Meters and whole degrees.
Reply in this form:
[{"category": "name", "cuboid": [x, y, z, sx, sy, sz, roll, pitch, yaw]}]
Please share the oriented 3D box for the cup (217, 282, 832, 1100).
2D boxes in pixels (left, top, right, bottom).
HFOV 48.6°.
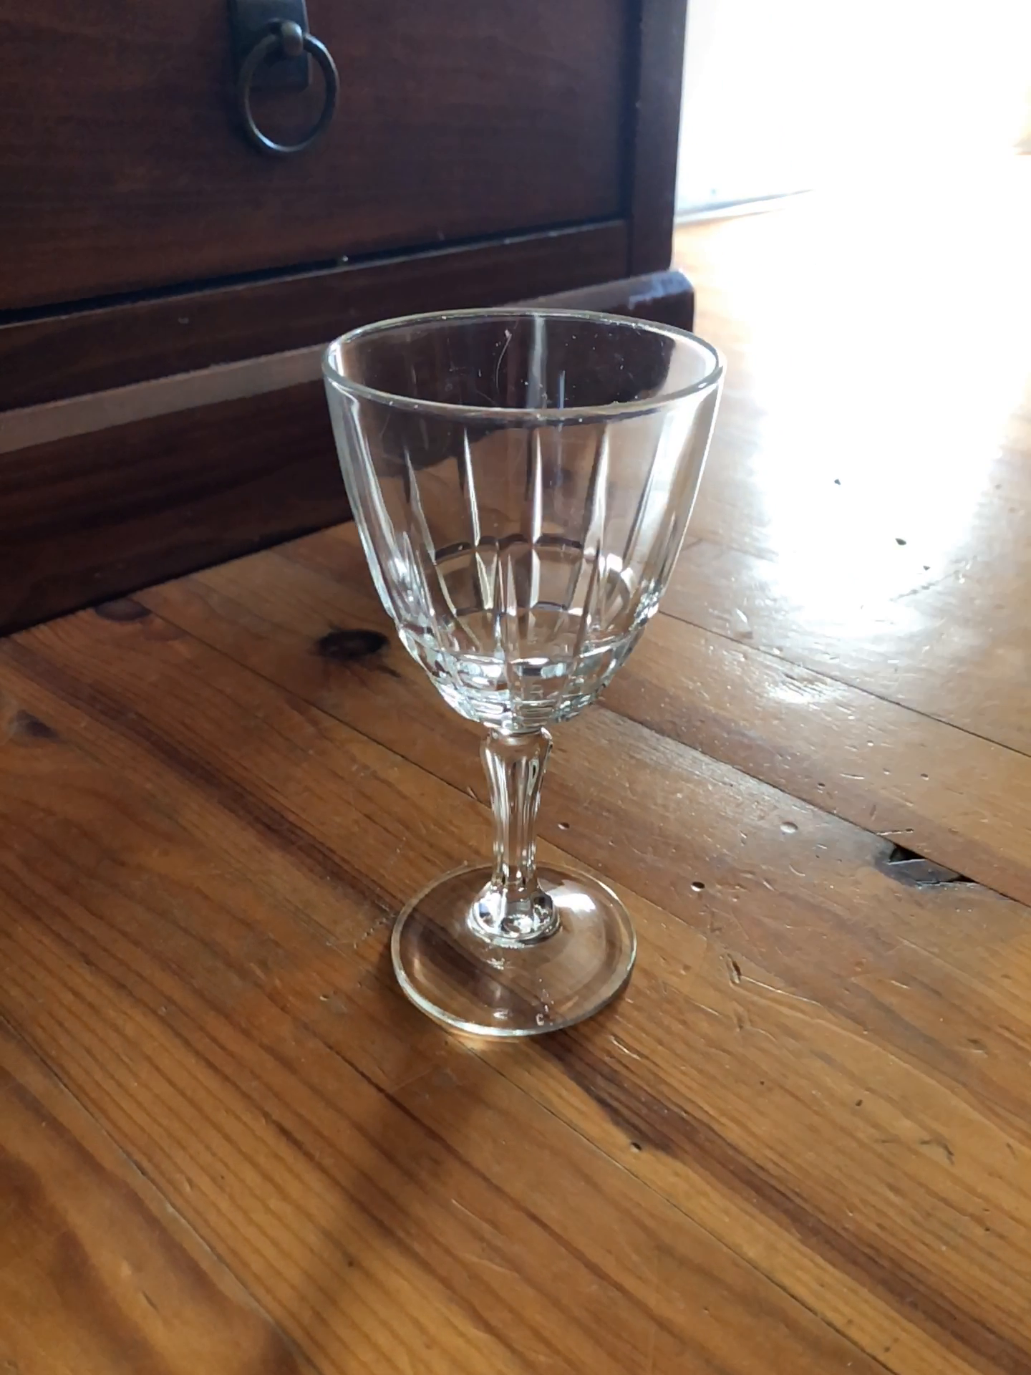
[{"category": "cup", "cuboid": [-0.001, -0.006, 0.254, 0.085, 0.141, 0.084, 1, 29, -1]}]
